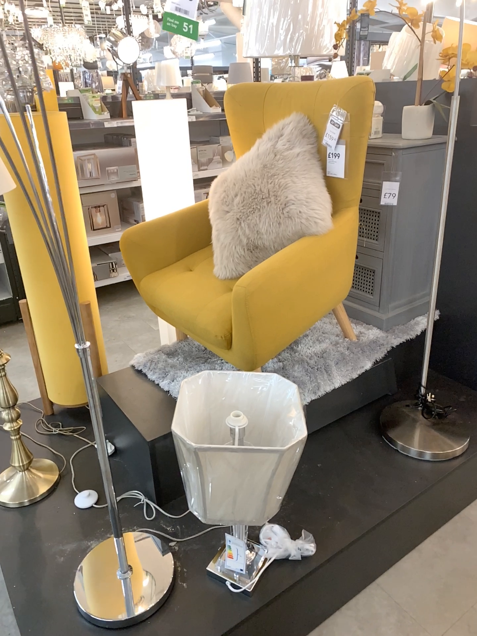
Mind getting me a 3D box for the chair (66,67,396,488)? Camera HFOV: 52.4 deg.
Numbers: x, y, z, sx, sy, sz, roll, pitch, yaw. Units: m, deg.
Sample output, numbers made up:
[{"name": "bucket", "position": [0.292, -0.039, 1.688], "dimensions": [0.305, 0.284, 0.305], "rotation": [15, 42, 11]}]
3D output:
[{"name": "chair", "position": [0.042, -0.172, 1.587], "dimensions": [0.713, 1.020, 0.593], "rotation": [-28, 33, -28]}]
